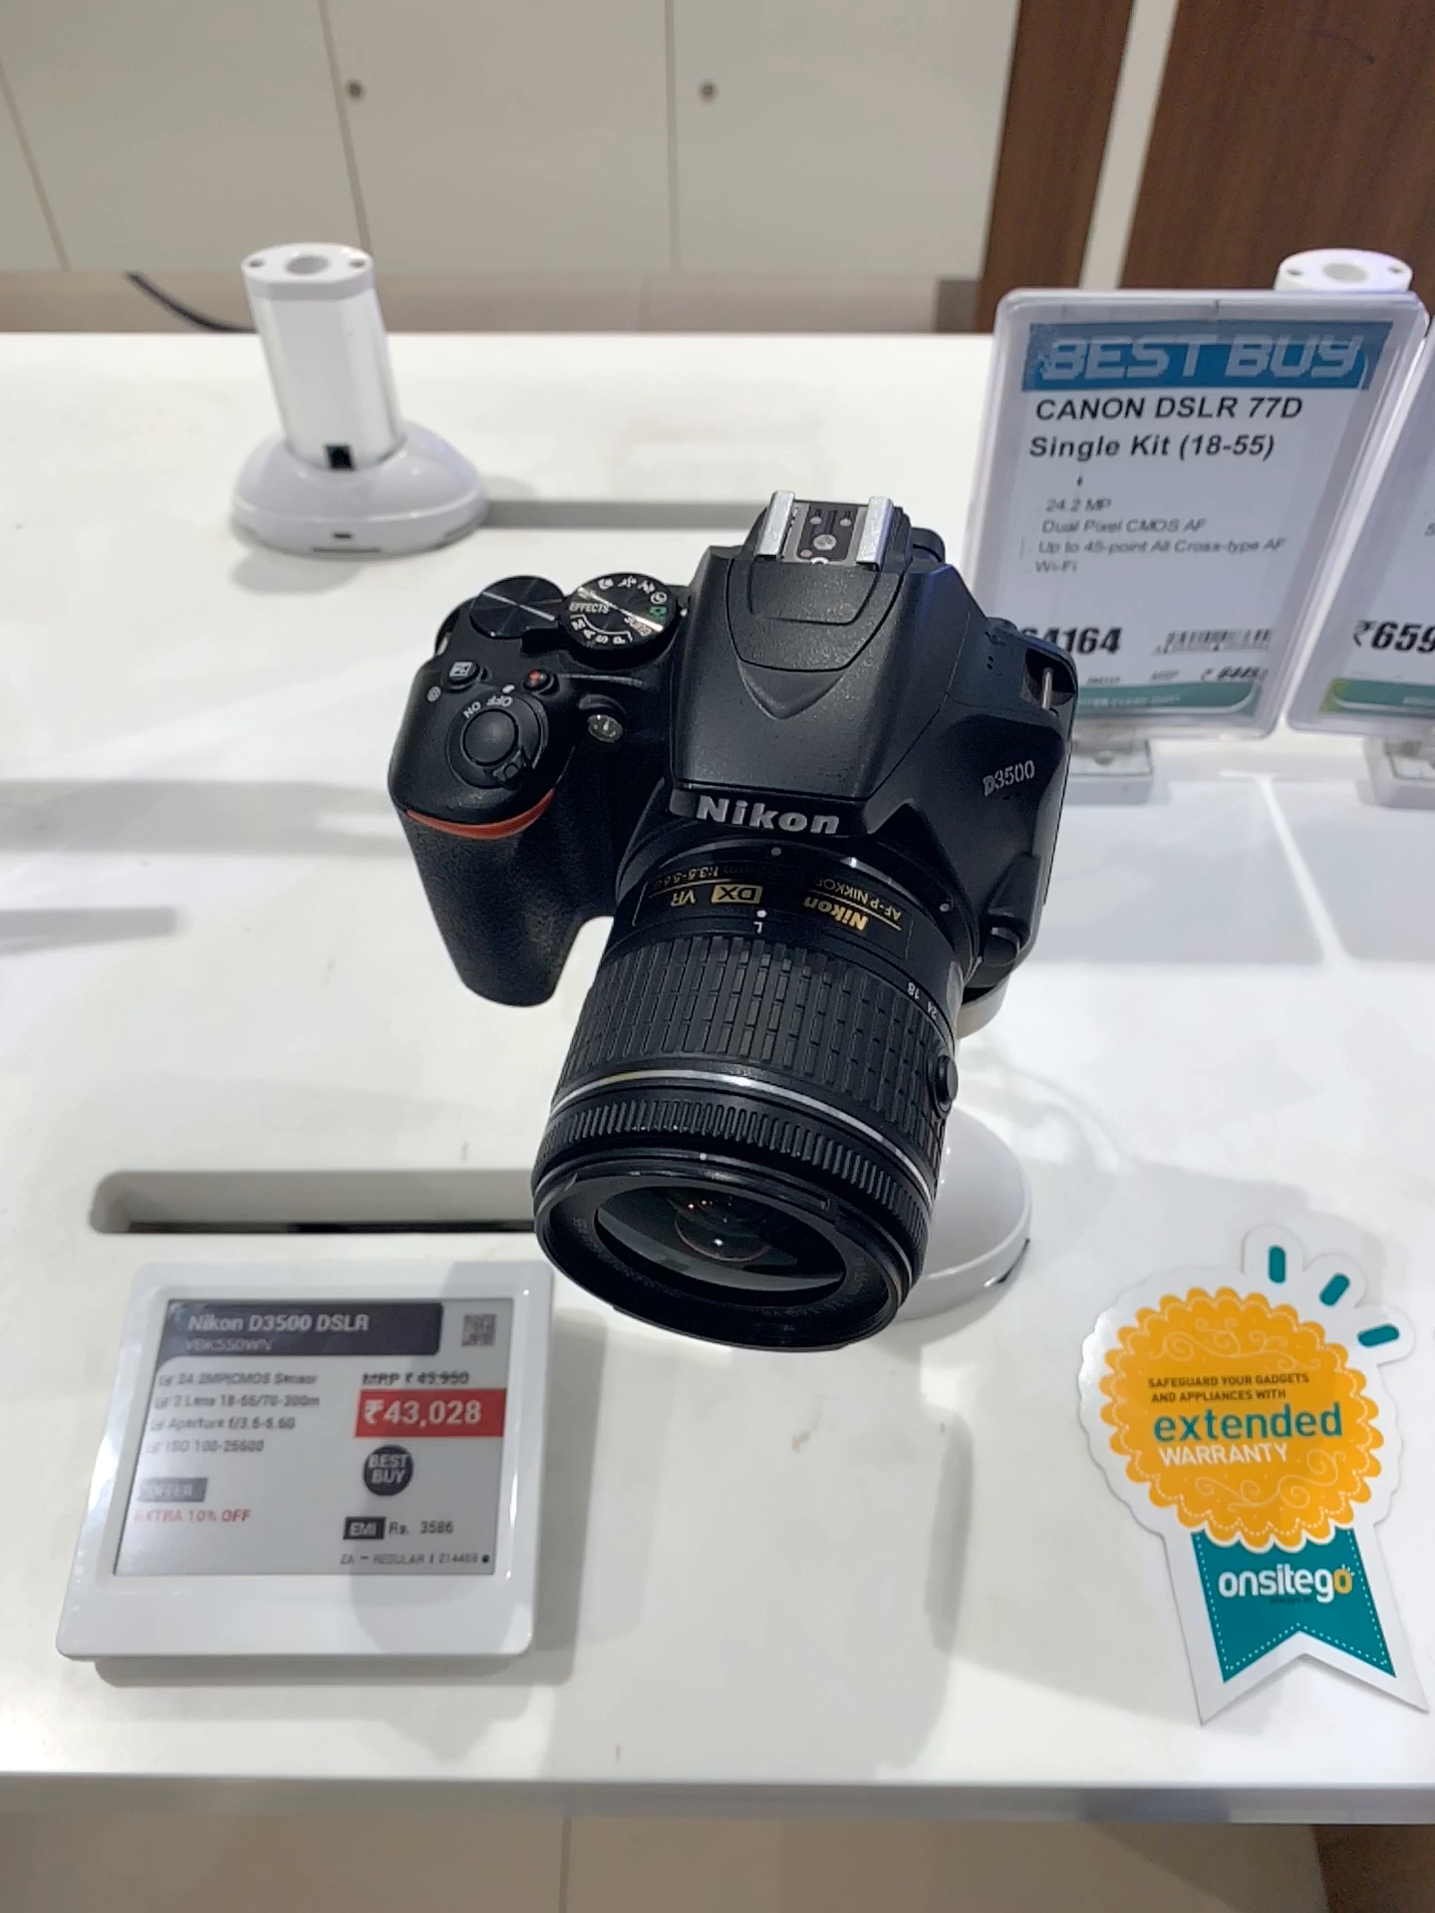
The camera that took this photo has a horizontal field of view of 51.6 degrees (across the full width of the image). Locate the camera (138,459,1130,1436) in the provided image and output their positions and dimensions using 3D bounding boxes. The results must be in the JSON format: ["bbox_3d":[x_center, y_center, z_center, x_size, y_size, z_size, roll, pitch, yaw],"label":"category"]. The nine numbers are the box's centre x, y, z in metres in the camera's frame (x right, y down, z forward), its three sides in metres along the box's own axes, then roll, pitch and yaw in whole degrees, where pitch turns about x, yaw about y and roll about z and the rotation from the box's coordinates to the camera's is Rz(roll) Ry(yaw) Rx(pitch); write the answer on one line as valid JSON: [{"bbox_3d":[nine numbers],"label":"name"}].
[{"bbox_3d":[-0.002,-0.003,0.229,0.110,0.090,0.103,8,51,7],"label":"camera"}]
